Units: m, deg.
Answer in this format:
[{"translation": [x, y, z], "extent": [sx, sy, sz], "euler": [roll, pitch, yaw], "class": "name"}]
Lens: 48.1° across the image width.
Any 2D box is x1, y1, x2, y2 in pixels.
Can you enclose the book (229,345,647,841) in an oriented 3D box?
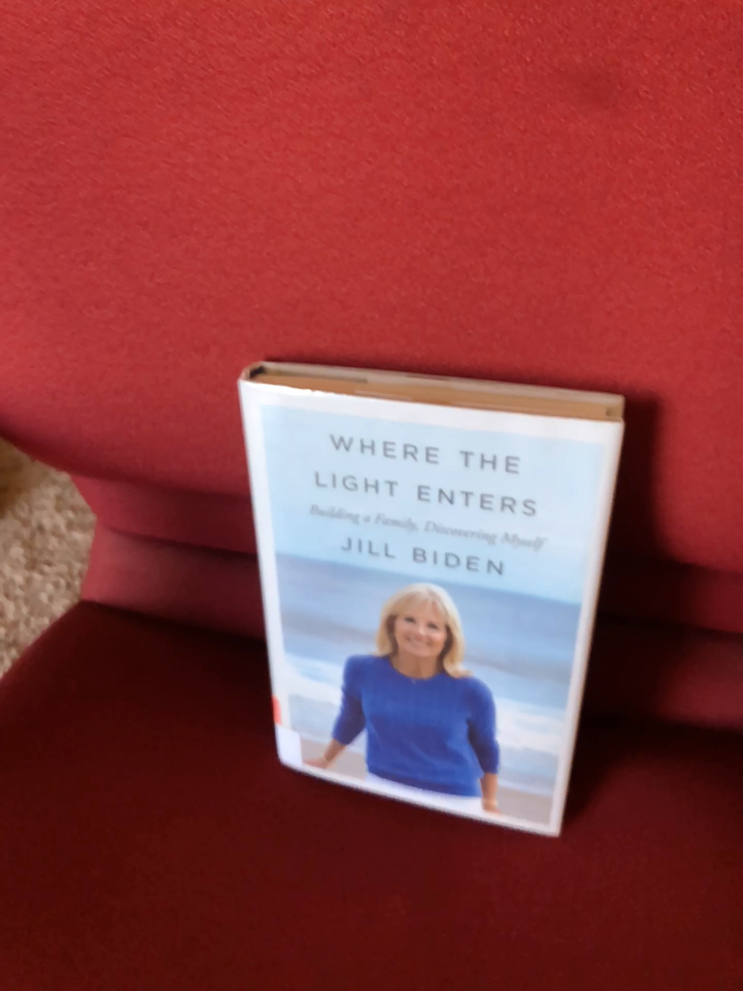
[{"translation": [0.022, 0.048, 0.358], "extent": [0.150, 0.209, 0.030], "euler": [9, 32, 15], "class": "book"}]
